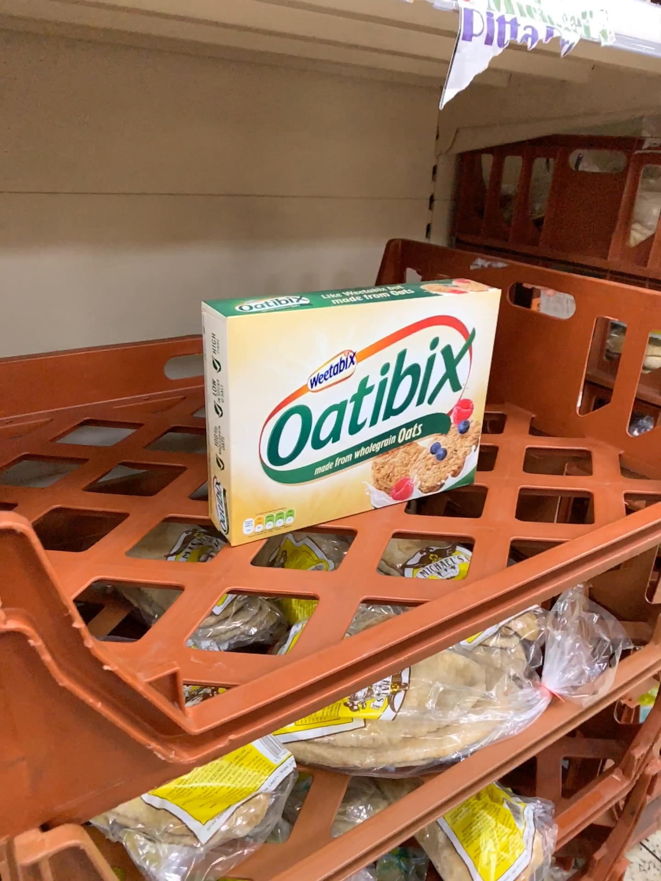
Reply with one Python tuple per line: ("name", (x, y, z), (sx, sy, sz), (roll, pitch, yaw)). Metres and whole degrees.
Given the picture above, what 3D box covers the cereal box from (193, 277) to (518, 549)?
("cereal box", (0.024, -0.034, 0.572), (0.261, 0.179, 0.070), (-11, 26, -29))
